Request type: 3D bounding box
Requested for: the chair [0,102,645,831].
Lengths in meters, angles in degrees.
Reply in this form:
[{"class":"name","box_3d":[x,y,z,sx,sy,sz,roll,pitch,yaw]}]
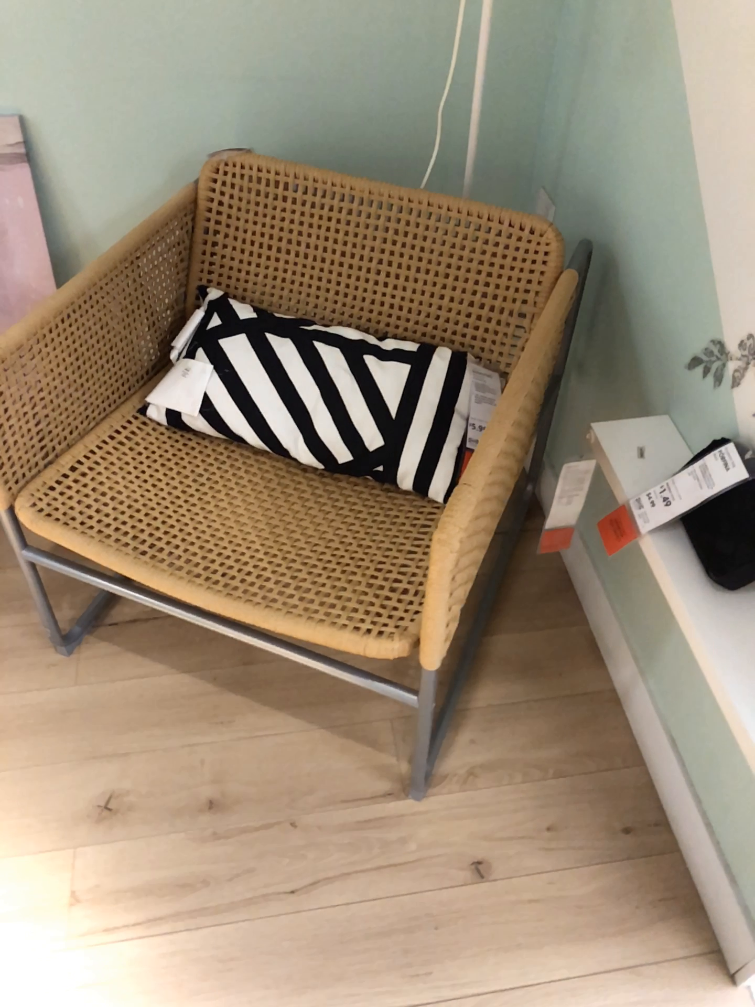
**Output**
[{"class":"chair","box_3d":[-0.117,-0.109,1.314,0.790,0.628,0.753,17,48,14]}]
